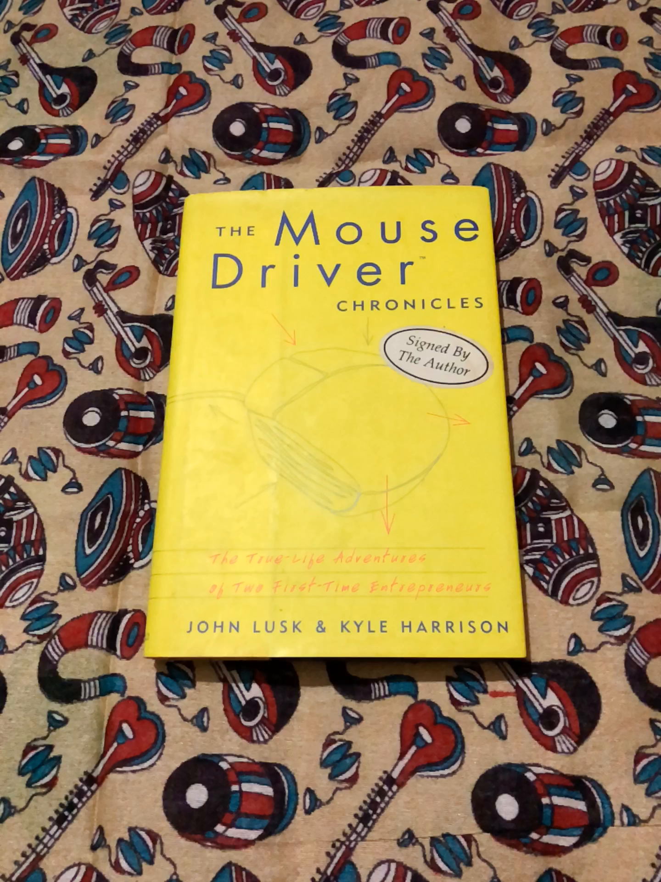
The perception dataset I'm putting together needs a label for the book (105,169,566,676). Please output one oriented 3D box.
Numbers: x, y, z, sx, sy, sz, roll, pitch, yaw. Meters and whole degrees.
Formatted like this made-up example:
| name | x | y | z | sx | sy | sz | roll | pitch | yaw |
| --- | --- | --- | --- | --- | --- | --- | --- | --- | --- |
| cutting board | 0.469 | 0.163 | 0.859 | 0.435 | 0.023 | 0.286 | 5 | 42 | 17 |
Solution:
| name | x | y | z | sx | sy | sz | roll | pitch | yaw |
| --- | --- | --- | --- | --- | --- | --- | --- | --- | --- |
| book | 0.002 | -0.016 | 0.317 | 0.160 | 0.040 | 0.220 | -1 | 66 | 2 |
